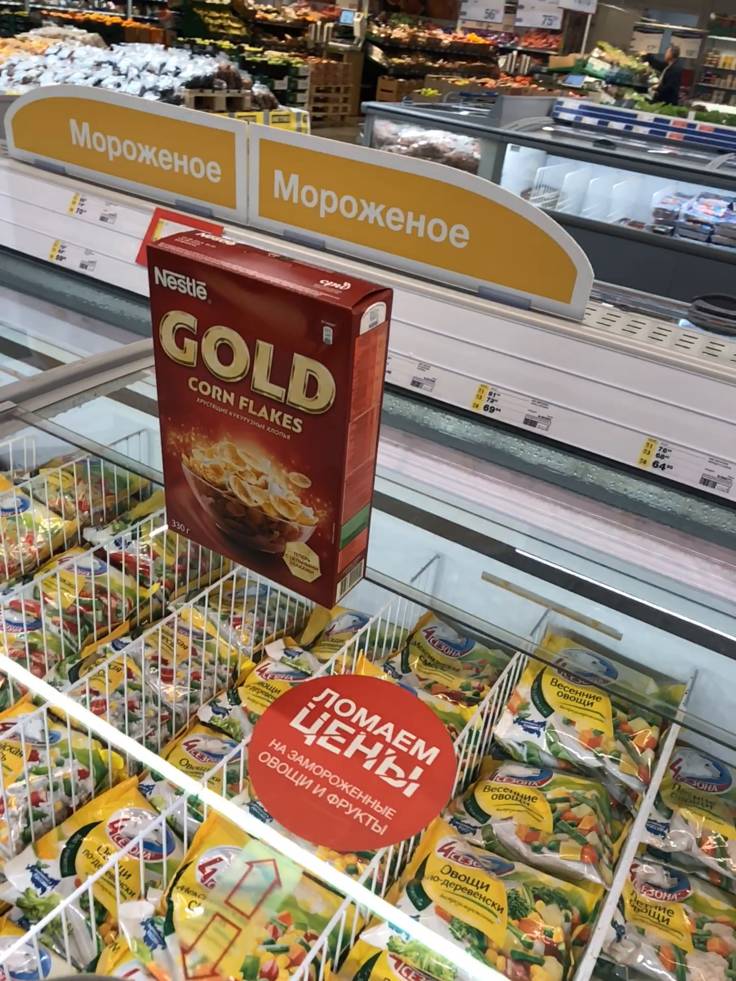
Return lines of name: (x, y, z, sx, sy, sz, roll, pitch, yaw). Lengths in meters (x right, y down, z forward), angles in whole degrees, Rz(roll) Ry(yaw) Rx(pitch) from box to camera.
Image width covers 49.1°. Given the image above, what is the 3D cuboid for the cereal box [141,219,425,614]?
cereal box: (-0.075, -0.058, 0.648, 0.210, 0.258, 0.060, 23, 37, 25)
